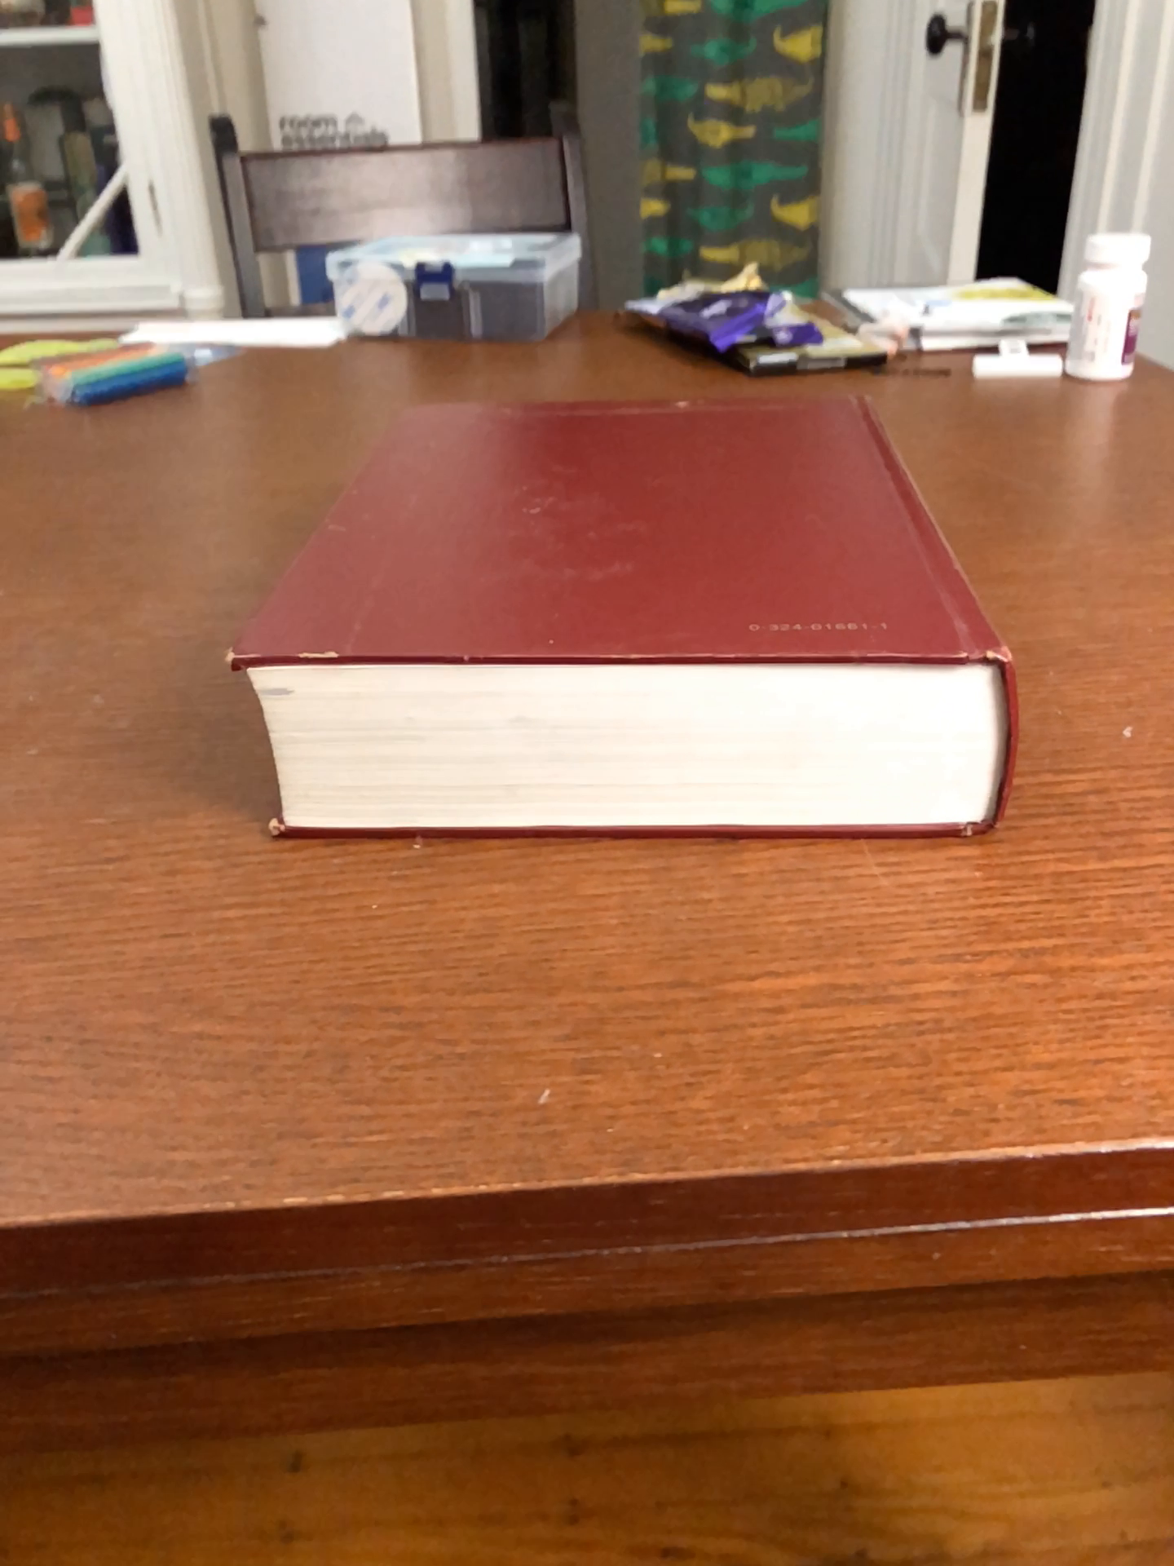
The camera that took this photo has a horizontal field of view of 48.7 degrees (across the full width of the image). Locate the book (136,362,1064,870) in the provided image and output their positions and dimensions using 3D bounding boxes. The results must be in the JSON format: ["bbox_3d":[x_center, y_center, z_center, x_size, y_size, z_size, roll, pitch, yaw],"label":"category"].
[{"bbox_3d":[0.010,-0.079,0.451,0.220,0.070,0.292,0,29,3],"label":"book"}]
